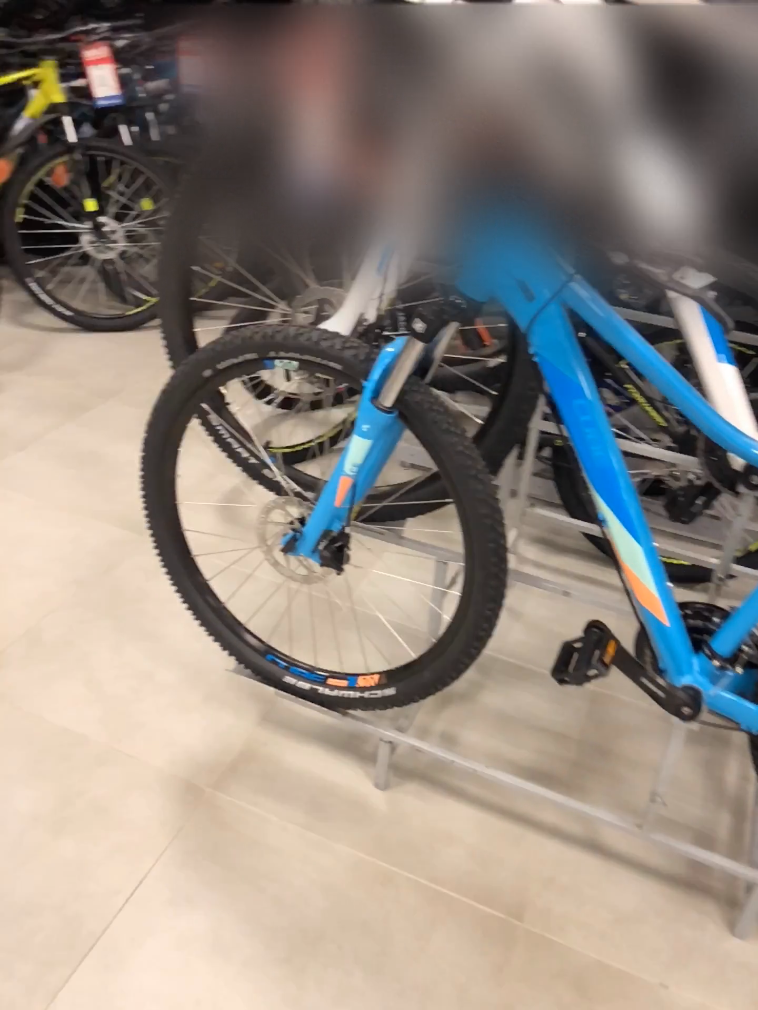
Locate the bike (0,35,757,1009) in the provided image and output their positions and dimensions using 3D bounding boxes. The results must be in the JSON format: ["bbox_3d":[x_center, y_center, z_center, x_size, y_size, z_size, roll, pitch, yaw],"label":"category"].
[{"bbox_3d":[0.380,-0.002,1.203,1.703,1.082,0.633,15,33,18],"label":"bike"}]
